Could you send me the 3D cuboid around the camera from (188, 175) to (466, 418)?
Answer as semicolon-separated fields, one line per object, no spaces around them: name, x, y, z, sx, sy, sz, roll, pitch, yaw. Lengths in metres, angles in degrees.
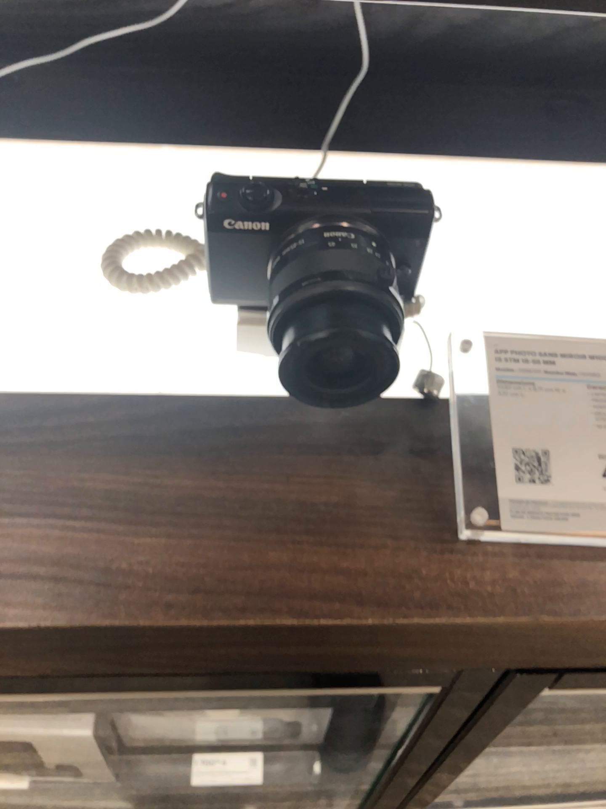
camera;0.007;-0.053;0.331;0.112;0.071;0.094;1;48;-3
